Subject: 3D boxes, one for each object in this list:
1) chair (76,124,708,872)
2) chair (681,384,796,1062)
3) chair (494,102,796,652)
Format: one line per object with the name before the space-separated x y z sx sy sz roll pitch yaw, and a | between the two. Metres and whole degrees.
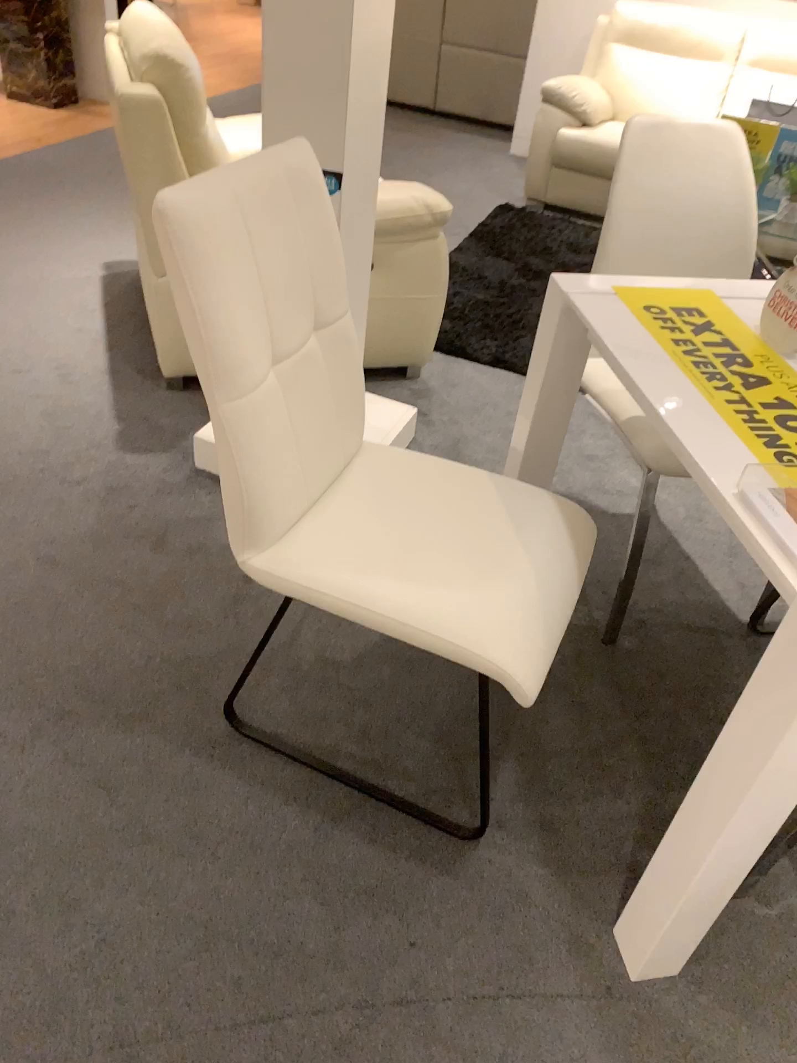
chair | -0.008 -0.054 1.284 0.631 0.881 0.545 19 40 14
chair | 0.808 0.400 0.837 0.550 0.881 0.606 1 39 -9
chair | 0.638 -0.321 1.724 0.520 0.901 0.646 -5 40 -15
